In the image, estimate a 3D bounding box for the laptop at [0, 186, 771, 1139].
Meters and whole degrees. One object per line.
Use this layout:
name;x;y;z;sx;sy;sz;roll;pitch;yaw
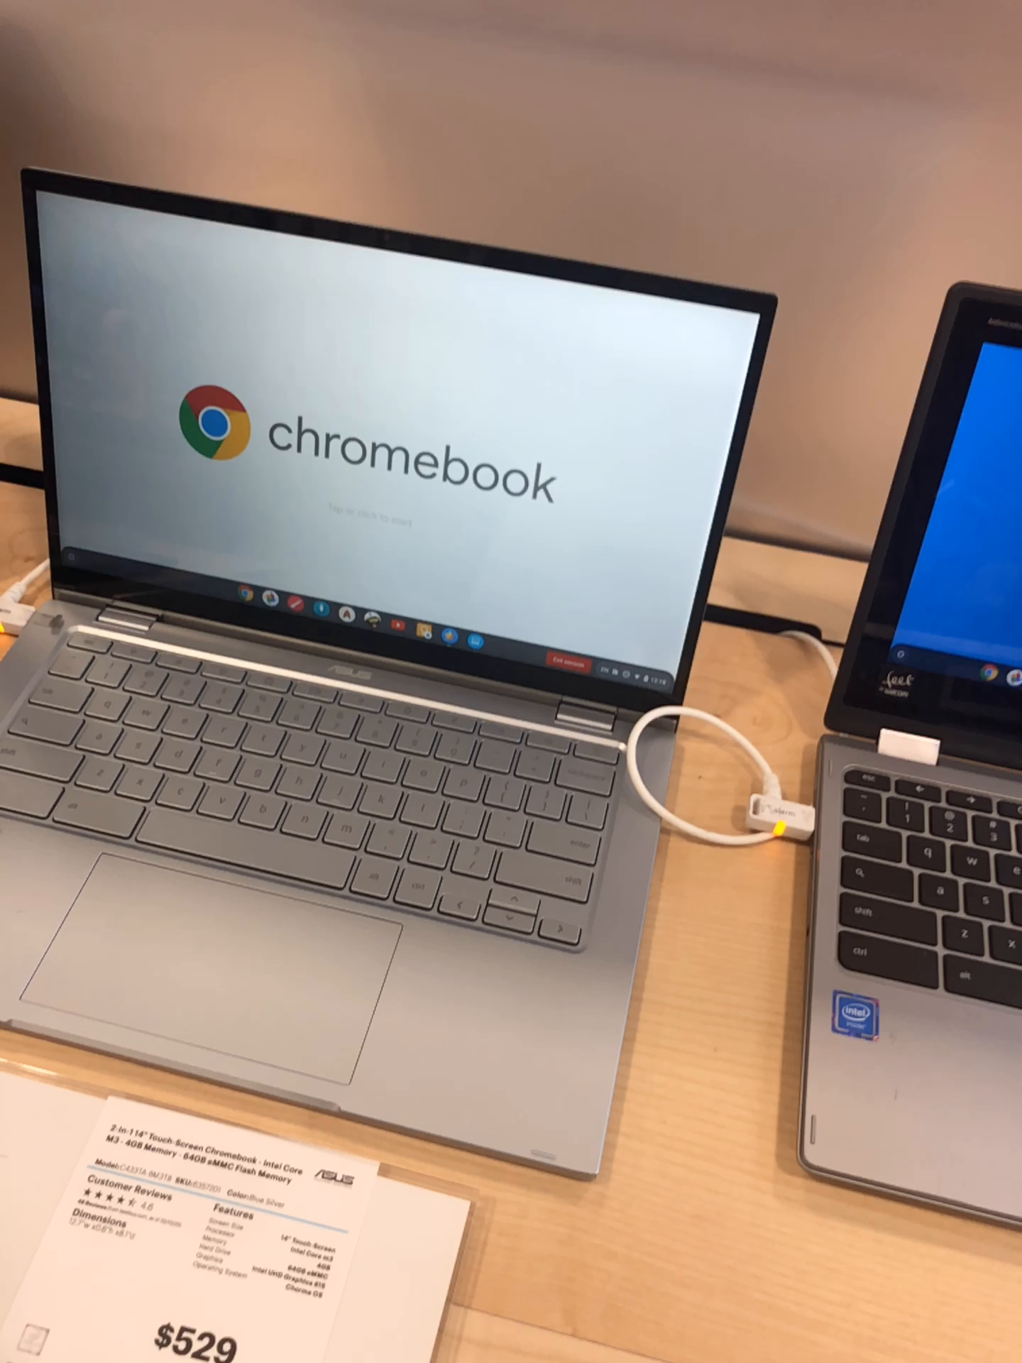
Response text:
laptop;-0.085;-0.026;0.436;0.309;0.174;0.283;11;48;6
